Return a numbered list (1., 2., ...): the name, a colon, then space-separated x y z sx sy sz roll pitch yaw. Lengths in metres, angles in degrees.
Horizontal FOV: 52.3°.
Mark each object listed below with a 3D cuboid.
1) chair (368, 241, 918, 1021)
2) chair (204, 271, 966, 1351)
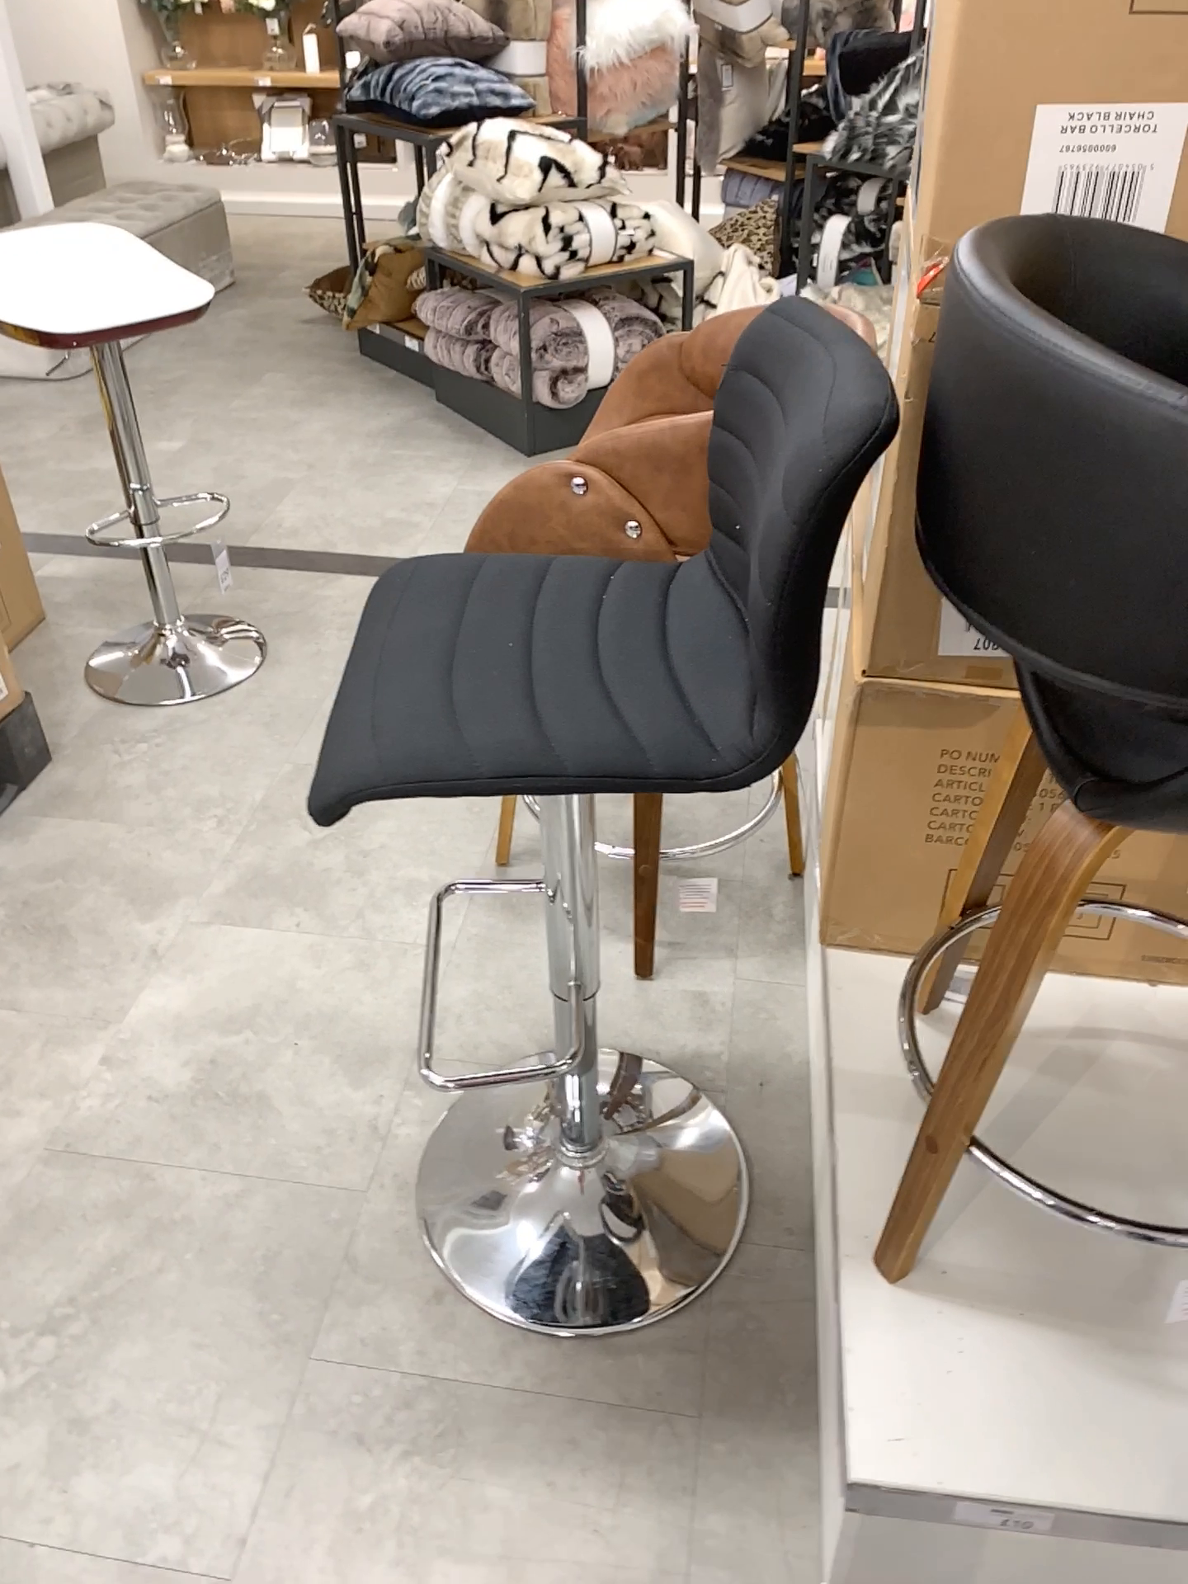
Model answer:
1. chair: 0.089 -0.235 1.712 0.519 0.875 0.528 13 38 17
2. chair: -0.009 0.063 1.216 0.468 0.994 0.458 -2 36 -2
